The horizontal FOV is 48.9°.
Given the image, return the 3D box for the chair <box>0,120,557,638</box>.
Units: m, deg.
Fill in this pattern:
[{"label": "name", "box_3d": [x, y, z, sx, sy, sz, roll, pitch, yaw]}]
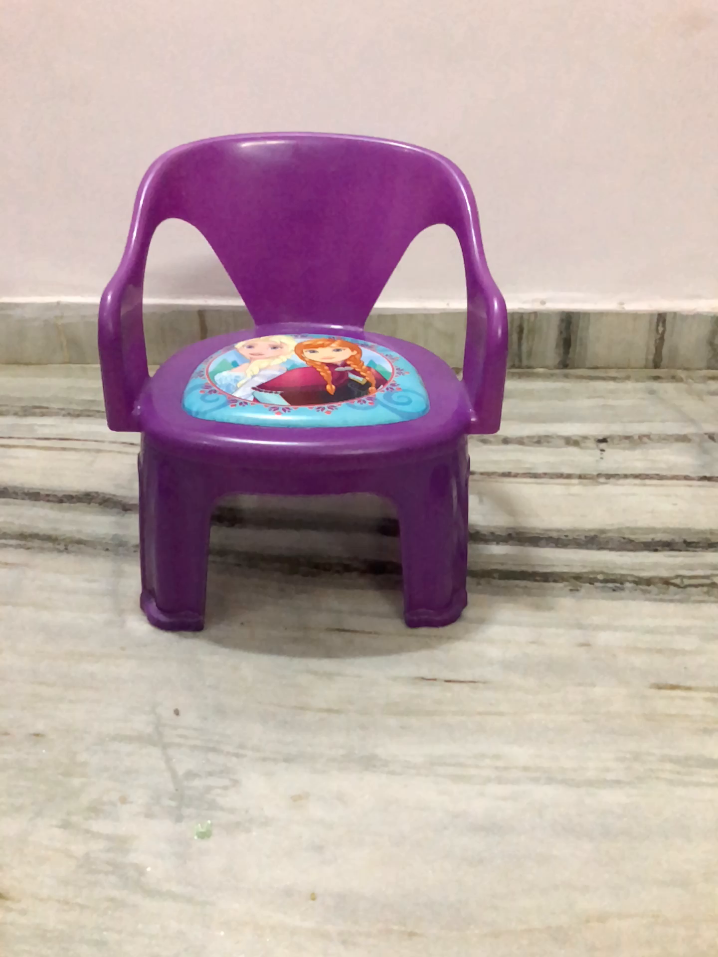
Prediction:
[{"label": "chair", "box_3d": [-0.056, -0.120, 0.738, 0.350, 0.348, 0.393, 1, 29, -1]}]
